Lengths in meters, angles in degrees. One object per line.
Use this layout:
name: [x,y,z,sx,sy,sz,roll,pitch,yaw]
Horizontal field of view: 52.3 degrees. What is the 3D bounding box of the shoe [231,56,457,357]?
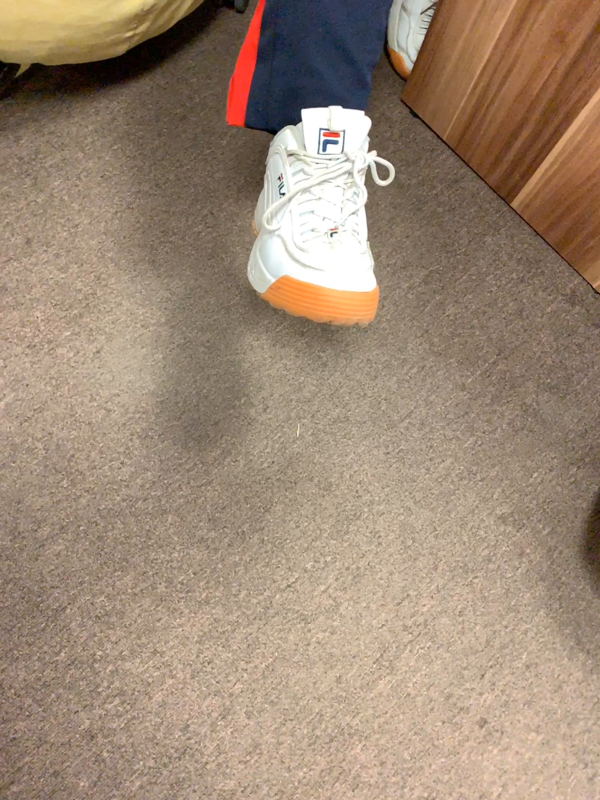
shoe: [0.019,-0.172,0.533,0.130,0.130,0.230,5,48,-15]
